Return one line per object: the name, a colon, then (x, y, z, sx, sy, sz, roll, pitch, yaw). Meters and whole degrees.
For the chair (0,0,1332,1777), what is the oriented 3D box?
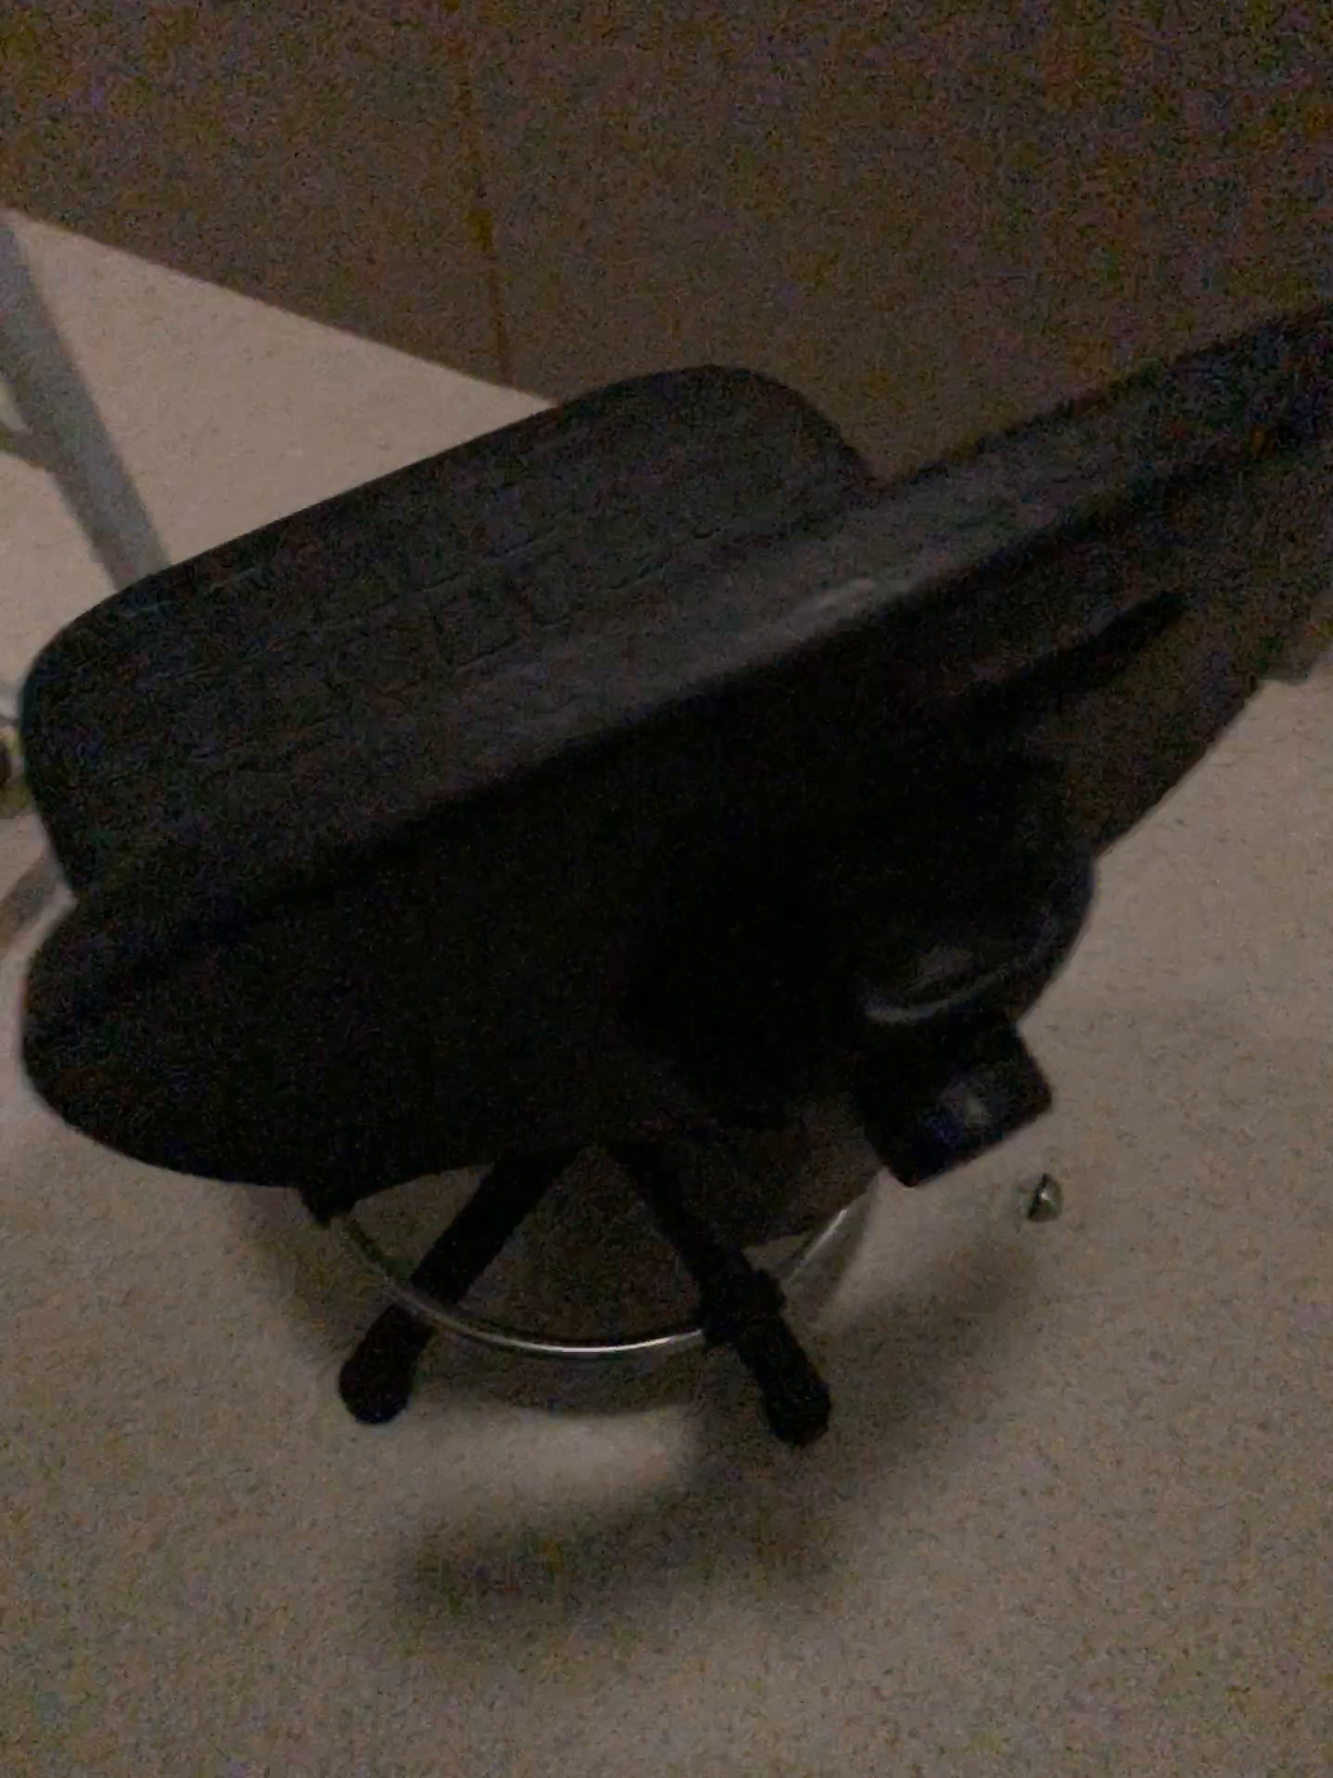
chair: (-0.031, -0.077, 0.701, 0.621, 0.934, 0.673, -25, 64, -12)
